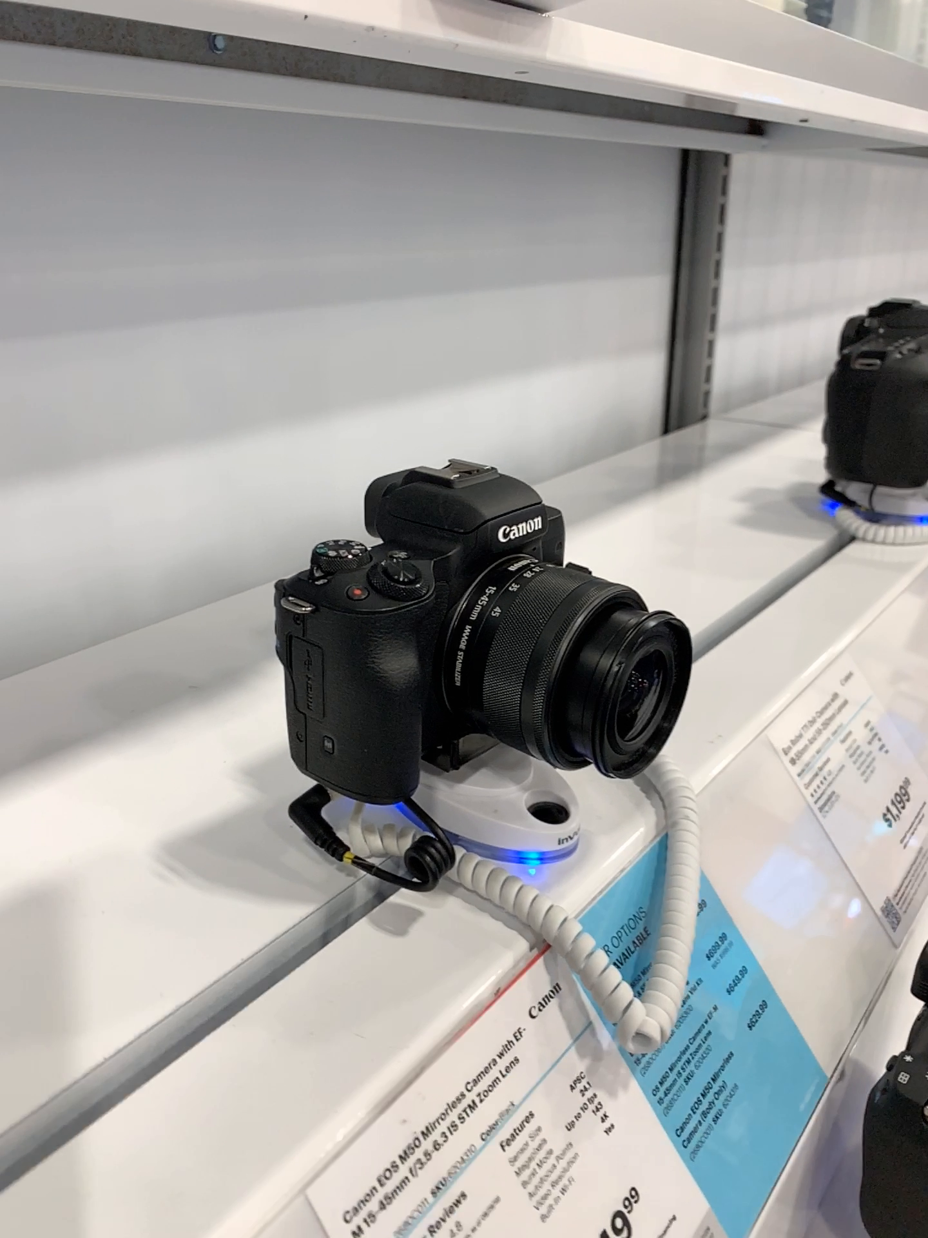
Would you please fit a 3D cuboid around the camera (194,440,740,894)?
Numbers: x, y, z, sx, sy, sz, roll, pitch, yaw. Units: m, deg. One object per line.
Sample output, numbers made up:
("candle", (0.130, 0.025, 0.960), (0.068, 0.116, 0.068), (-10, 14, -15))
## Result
("camera", (0.006, 0.000, 0.308), (0.110, 0.080, 0.130), (16, 28, 35))
